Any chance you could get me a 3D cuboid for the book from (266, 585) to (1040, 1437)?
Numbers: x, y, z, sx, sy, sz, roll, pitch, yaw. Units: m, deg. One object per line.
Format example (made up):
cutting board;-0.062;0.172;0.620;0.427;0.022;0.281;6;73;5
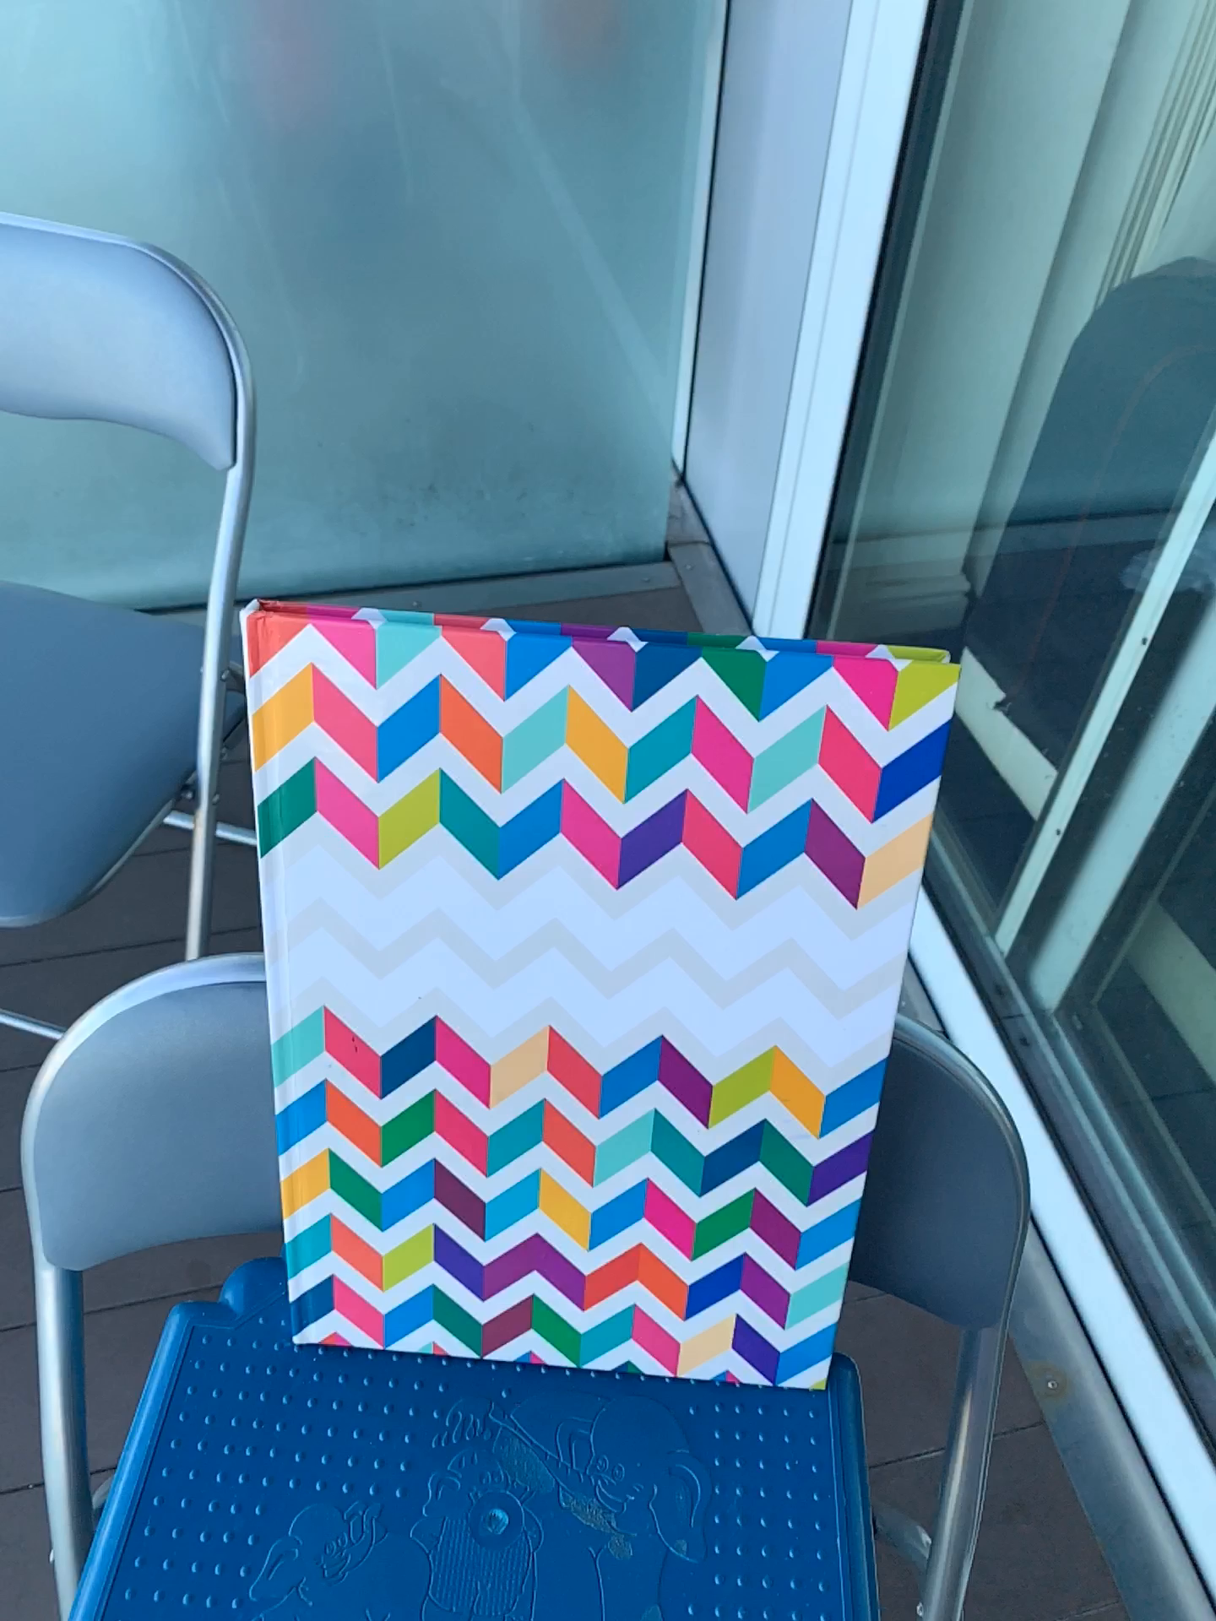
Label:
book;0.002;0.081;0.412;0.211;0.289;0.030;6;25;3
